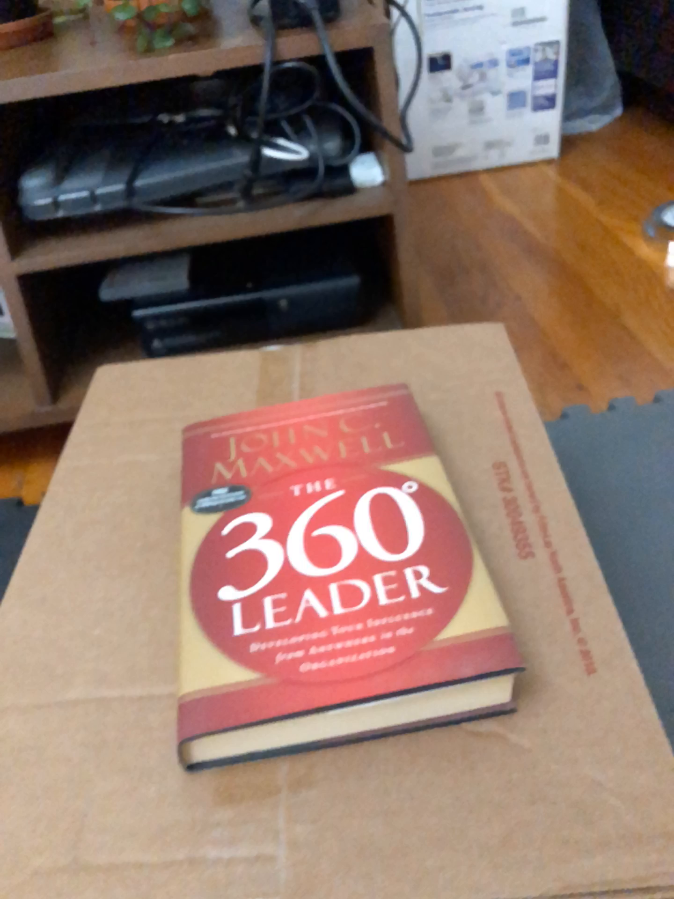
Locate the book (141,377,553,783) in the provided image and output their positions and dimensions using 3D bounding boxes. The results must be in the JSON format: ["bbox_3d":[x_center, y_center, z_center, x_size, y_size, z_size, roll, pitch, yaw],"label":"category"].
[{"bbox_3d":[-0.009,0.050,0.427,0.180,0.030,0.241,-10,38,-2],"label":"book"}]
